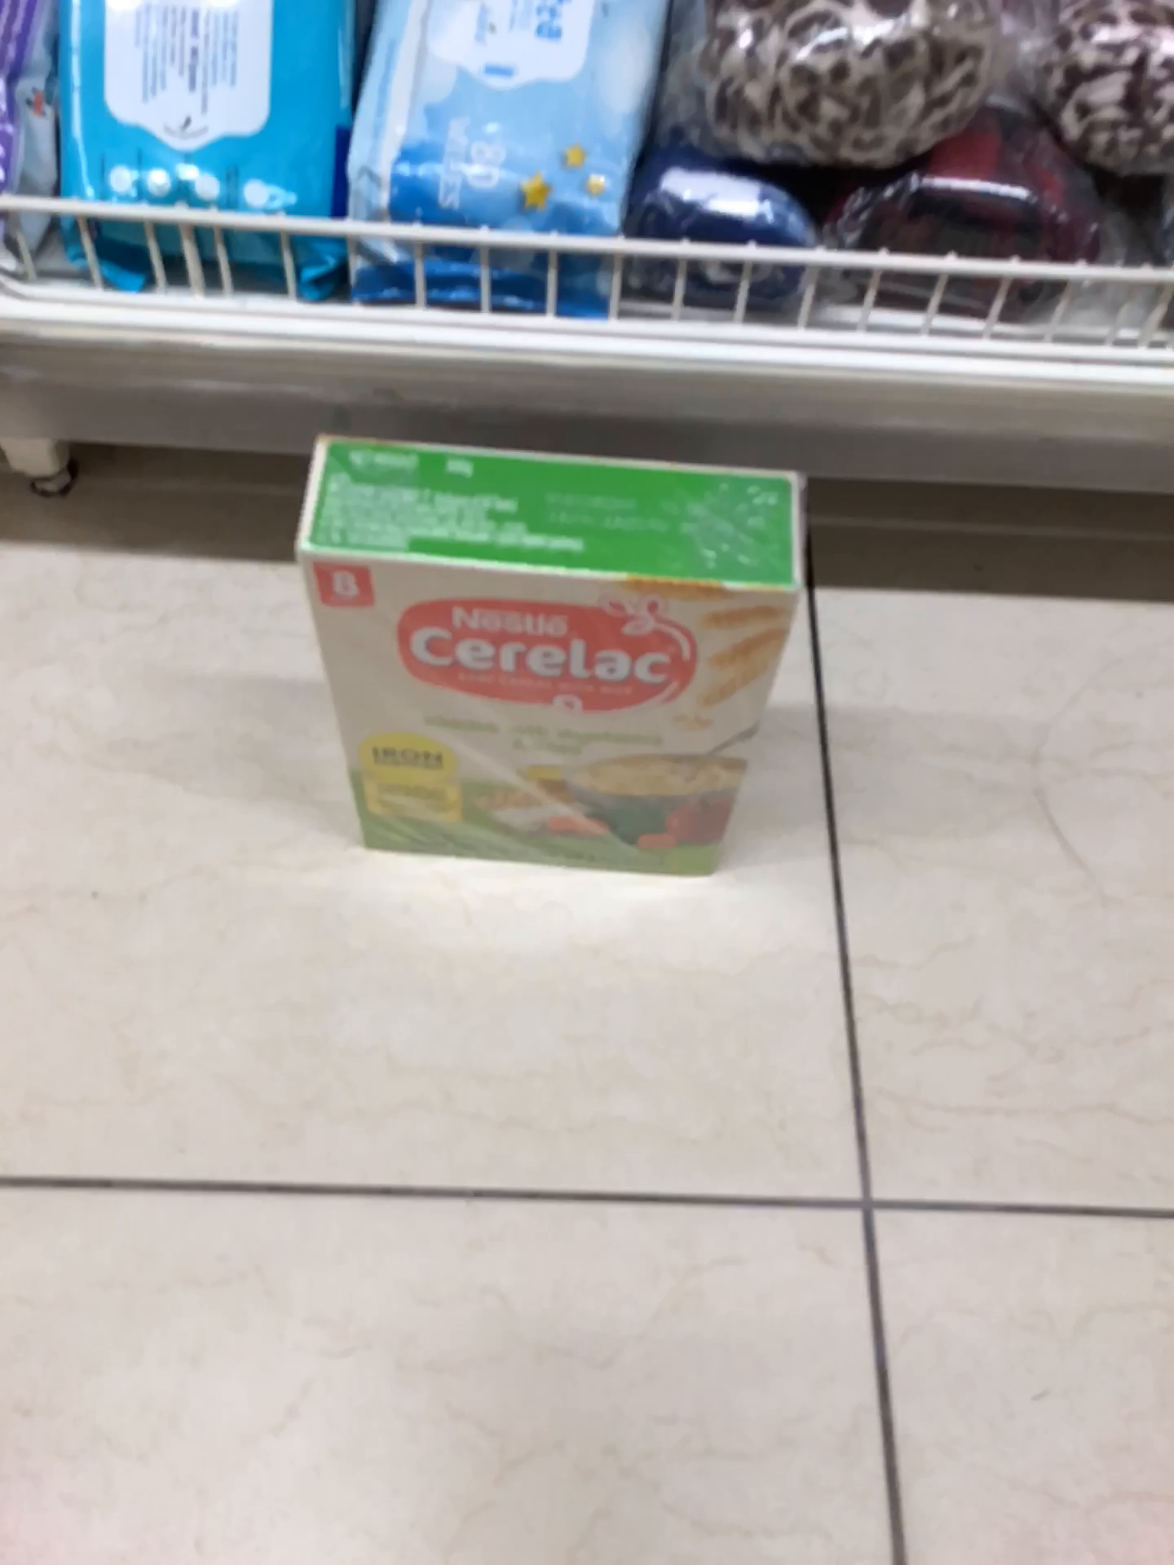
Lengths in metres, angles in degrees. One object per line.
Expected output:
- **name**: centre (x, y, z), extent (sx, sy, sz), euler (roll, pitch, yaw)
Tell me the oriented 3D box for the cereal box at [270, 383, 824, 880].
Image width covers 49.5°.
- **cereal box**: centre (-0.015, -0.041, 0.468), extent (0.160, 0.199, 0.060), euler (4, 59, -1)
